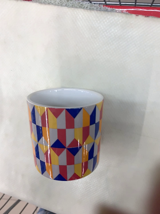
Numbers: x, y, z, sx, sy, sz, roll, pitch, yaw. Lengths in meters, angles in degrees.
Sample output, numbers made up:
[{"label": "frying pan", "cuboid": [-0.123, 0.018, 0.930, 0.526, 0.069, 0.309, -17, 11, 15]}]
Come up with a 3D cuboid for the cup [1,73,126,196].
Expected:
[{"label": "cup", "cuboid": [-0.019, 0.014, 0.184, 0.100, 0.080, 0.080, 19, 117, 40]}]
